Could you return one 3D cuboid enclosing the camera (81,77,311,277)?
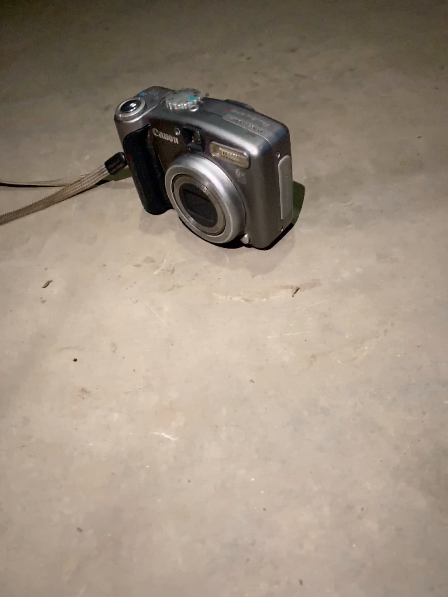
[{"bbox_3d":[-0.014,-0.068,0.247,0.109,0.060,0.048,29,58,29],"label":"camera"}]
